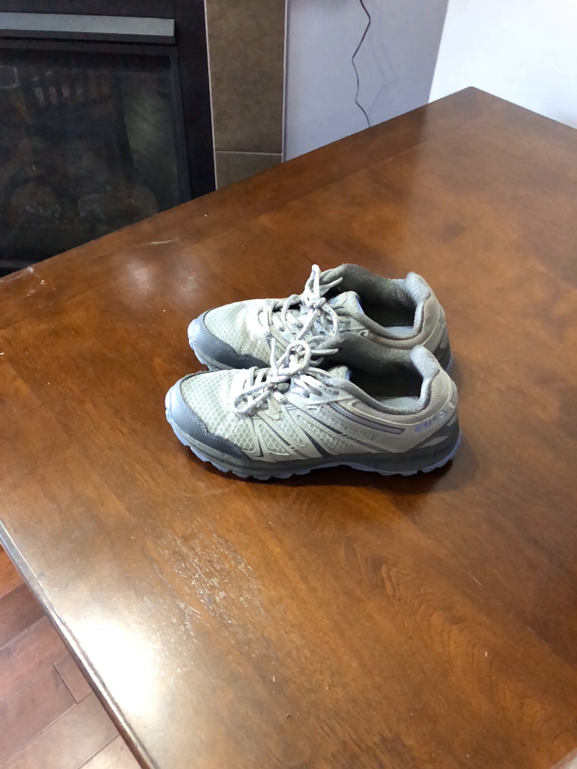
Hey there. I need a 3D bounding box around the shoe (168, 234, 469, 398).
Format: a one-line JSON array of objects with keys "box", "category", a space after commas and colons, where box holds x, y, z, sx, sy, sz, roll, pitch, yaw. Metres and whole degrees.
[{"box": [0.024, -0.065, 0.602, 0.250, 0.100, 0.110, 1, 47, -1], "category": "shoe"}]

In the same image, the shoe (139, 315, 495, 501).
[{"box": [0.021, 0.020, 0.538, 0.260, 0.100, 0.110, 2, 47, -1], "category": "shoe"}]
